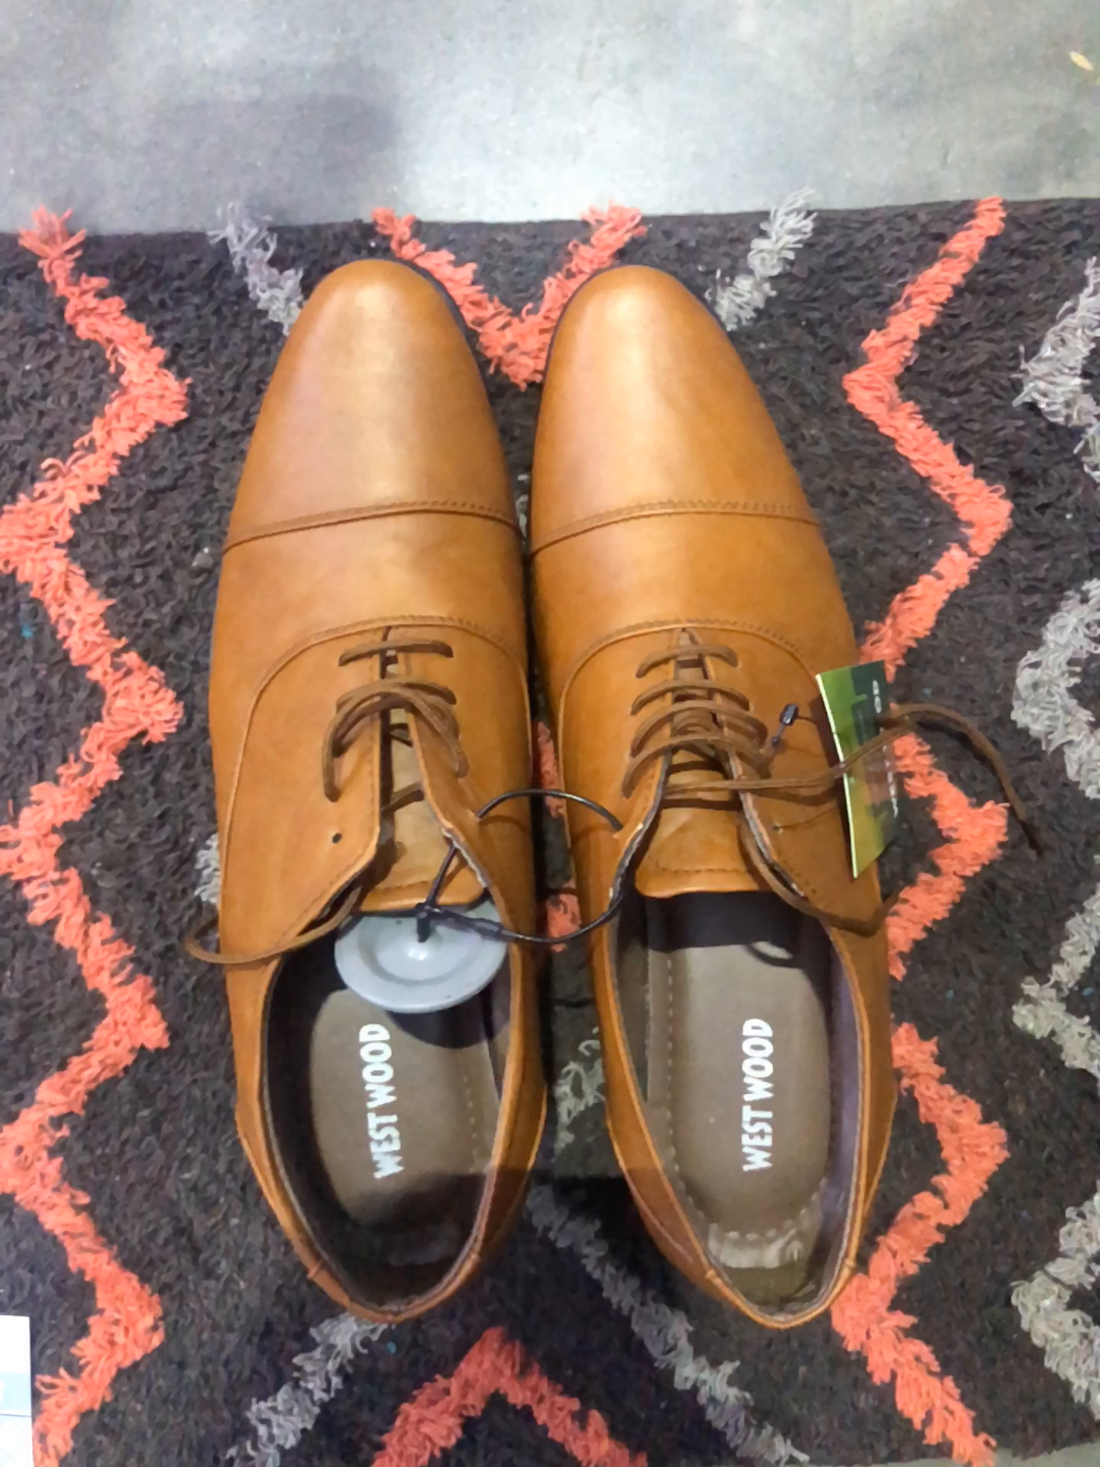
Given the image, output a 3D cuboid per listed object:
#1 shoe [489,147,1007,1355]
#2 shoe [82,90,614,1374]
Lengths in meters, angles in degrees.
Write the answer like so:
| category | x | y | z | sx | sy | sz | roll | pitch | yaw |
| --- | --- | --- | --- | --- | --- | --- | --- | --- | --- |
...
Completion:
| category | x | y | z | sx | sy | sz | roll | pitch | yaw |
| --- | --- | --- | --- | --- | --- | --- | --- | --- | --- |
| shoe | 0.049 | 0.003 | 0.351 | 0.110 | 0.080 | 0.300 | -4 | 89 | -1 |
| shoe | -0.051 | -0.002 | 0.337 | 0.110 | 0.070 | 0.310 | -4 | 89 | -1 |
